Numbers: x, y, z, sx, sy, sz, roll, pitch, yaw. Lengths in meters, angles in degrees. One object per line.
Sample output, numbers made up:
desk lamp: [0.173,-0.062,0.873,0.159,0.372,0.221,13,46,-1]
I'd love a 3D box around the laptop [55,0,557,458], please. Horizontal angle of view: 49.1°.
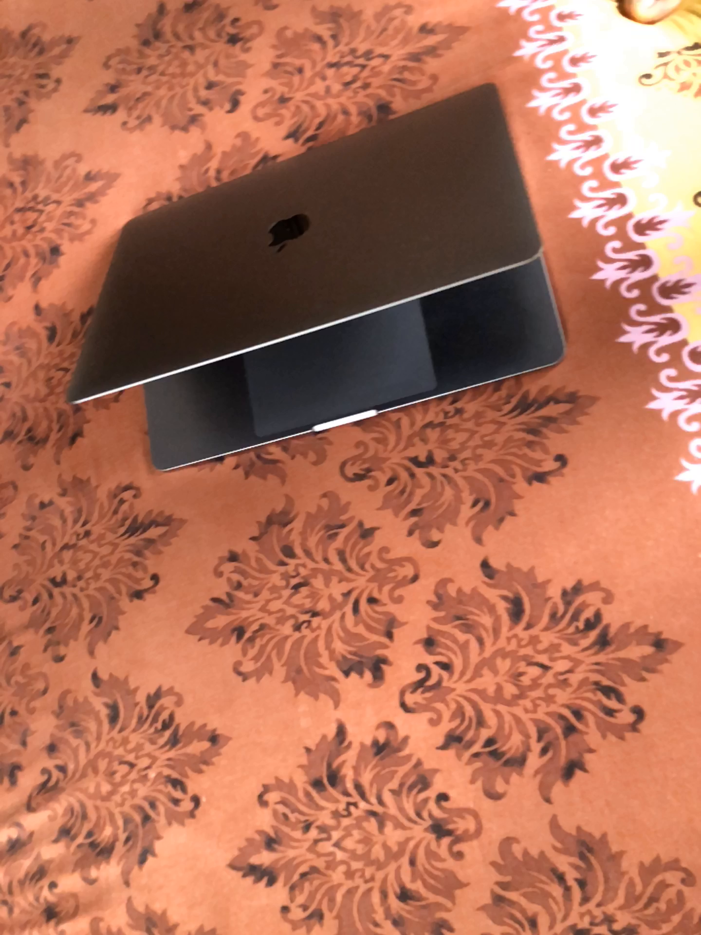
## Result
laptop: [-0.037,-0.146,0.487,0.286,0.093,0.204,-14,73,17]
